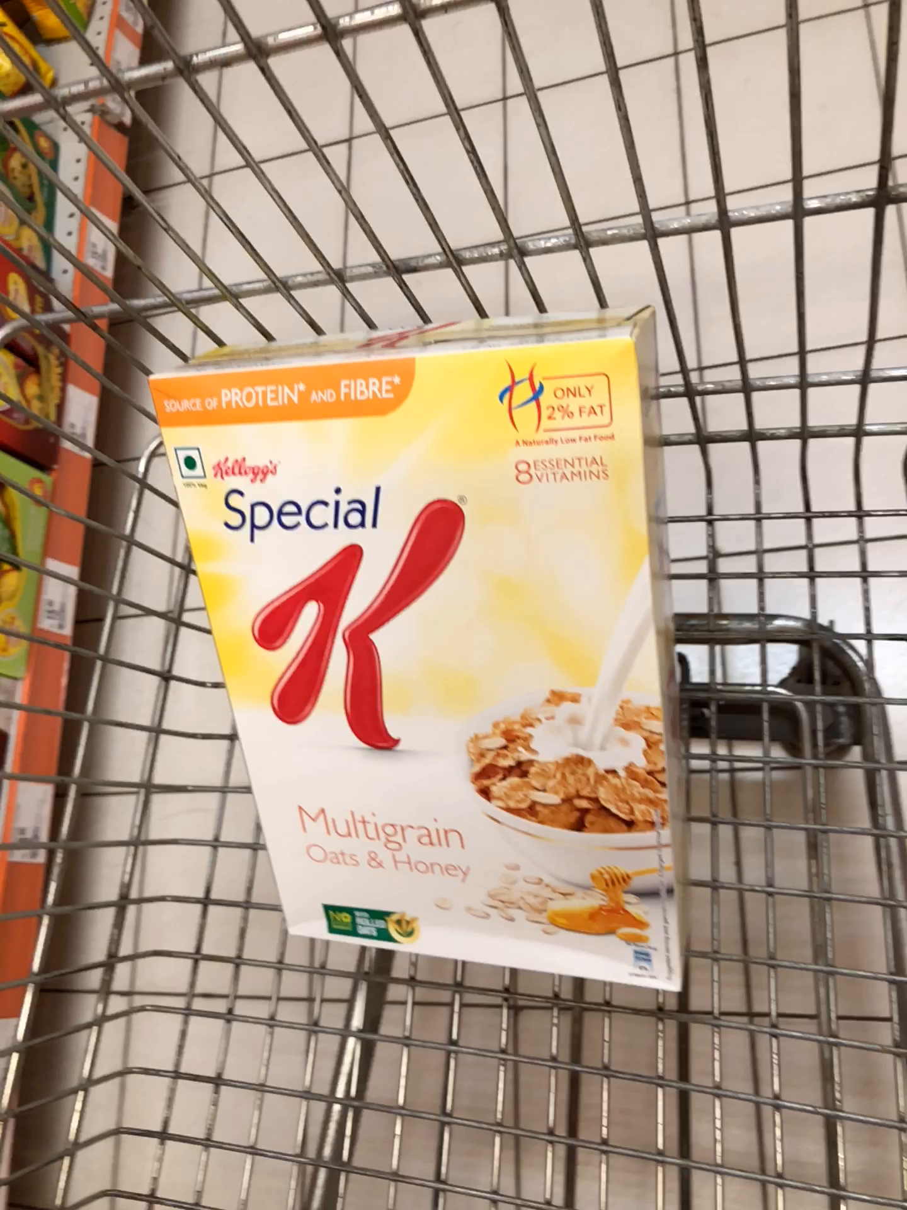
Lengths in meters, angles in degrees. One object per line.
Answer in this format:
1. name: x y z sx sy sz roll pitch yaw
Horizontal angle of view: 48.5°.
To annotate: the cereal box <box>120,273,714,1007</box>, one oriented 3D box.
1. cereal box: 0.002 0.018 0.419 0.190 0.090 0.269 0 115 20
